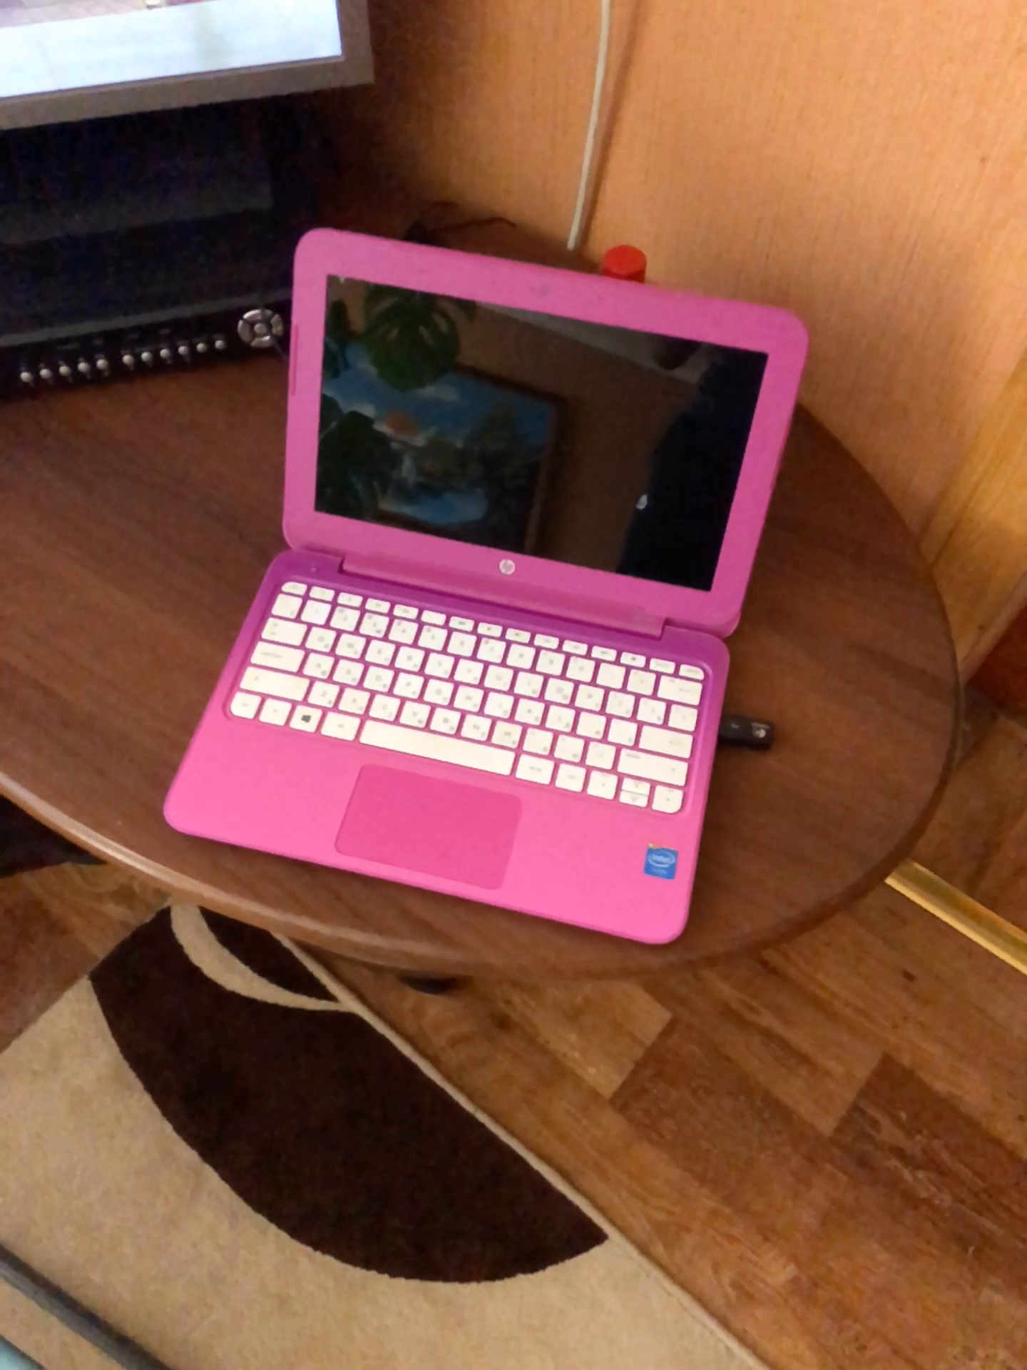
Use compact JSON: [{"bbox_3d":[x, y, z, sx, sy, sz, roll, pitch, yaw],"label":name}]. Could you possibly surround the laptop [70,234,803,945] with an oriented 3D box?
[{"bbox_3d":[-0.018,-0.059,0.598,0.279,0.150,0.296,12,59,6],"label":"laptop"}]
